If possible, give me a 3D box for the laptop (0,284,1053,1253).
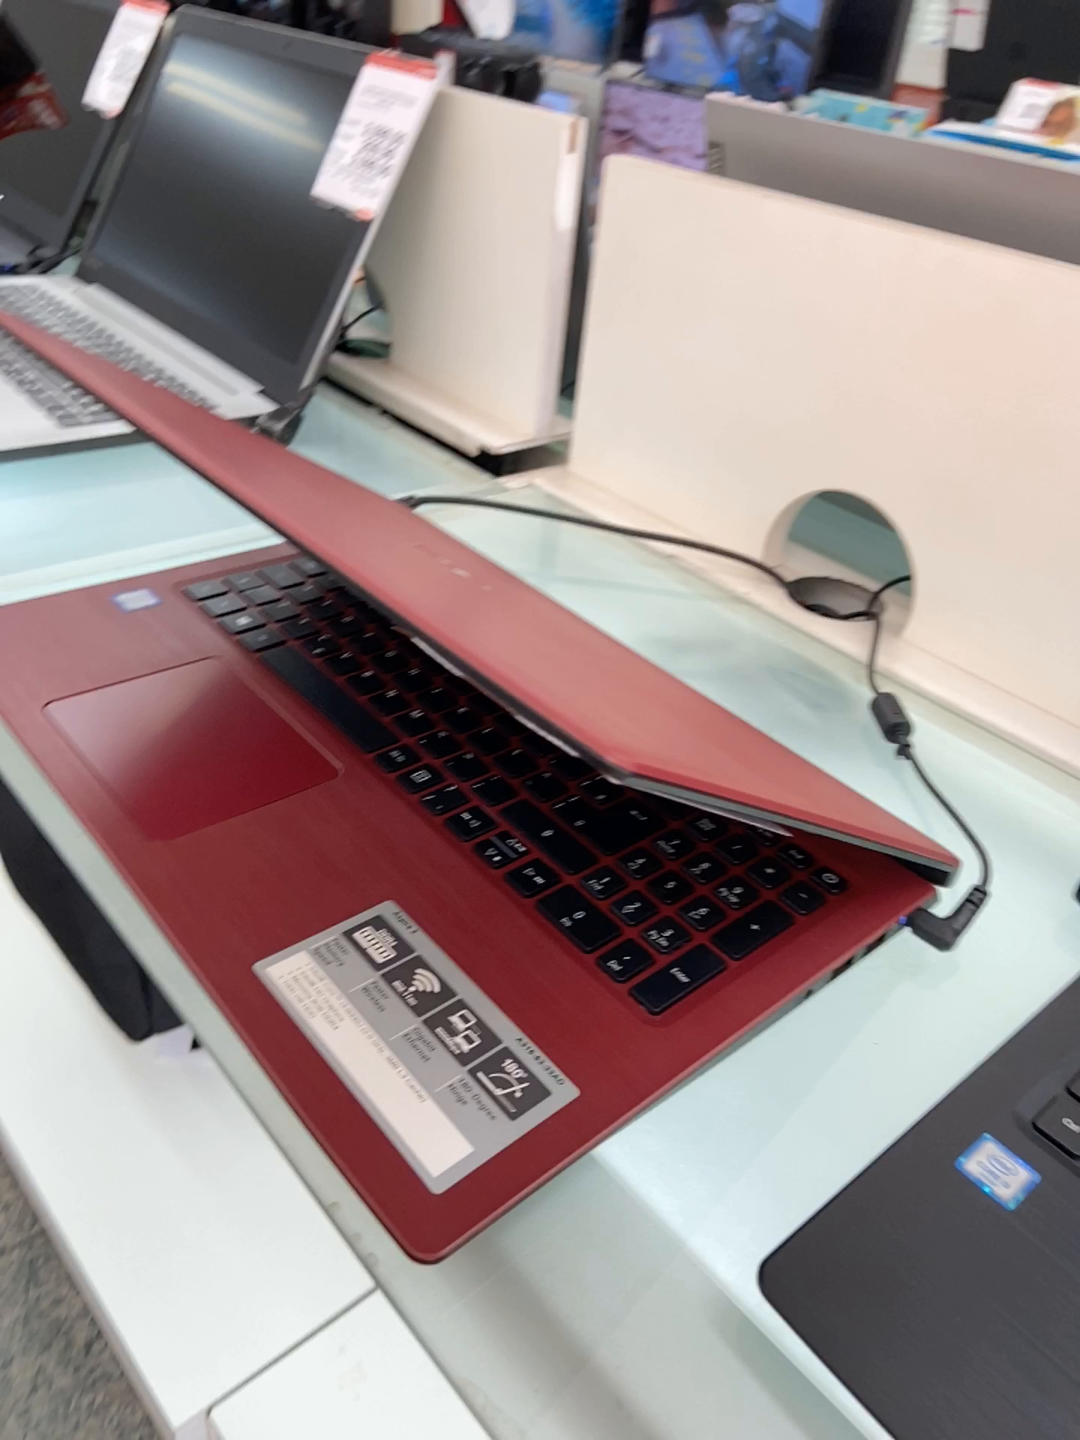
[{"bbox_3d":[-0.059,-0.045,0.428,0.237,0.132,0.381,-22,43,-36],"label":"laptop"}]

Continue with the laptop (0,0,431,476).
[{"bbox_3d":[-0.344,-0.376,0.793,0.378,0.215,0.354,-21,44,-35],"label":"laptop"}]
